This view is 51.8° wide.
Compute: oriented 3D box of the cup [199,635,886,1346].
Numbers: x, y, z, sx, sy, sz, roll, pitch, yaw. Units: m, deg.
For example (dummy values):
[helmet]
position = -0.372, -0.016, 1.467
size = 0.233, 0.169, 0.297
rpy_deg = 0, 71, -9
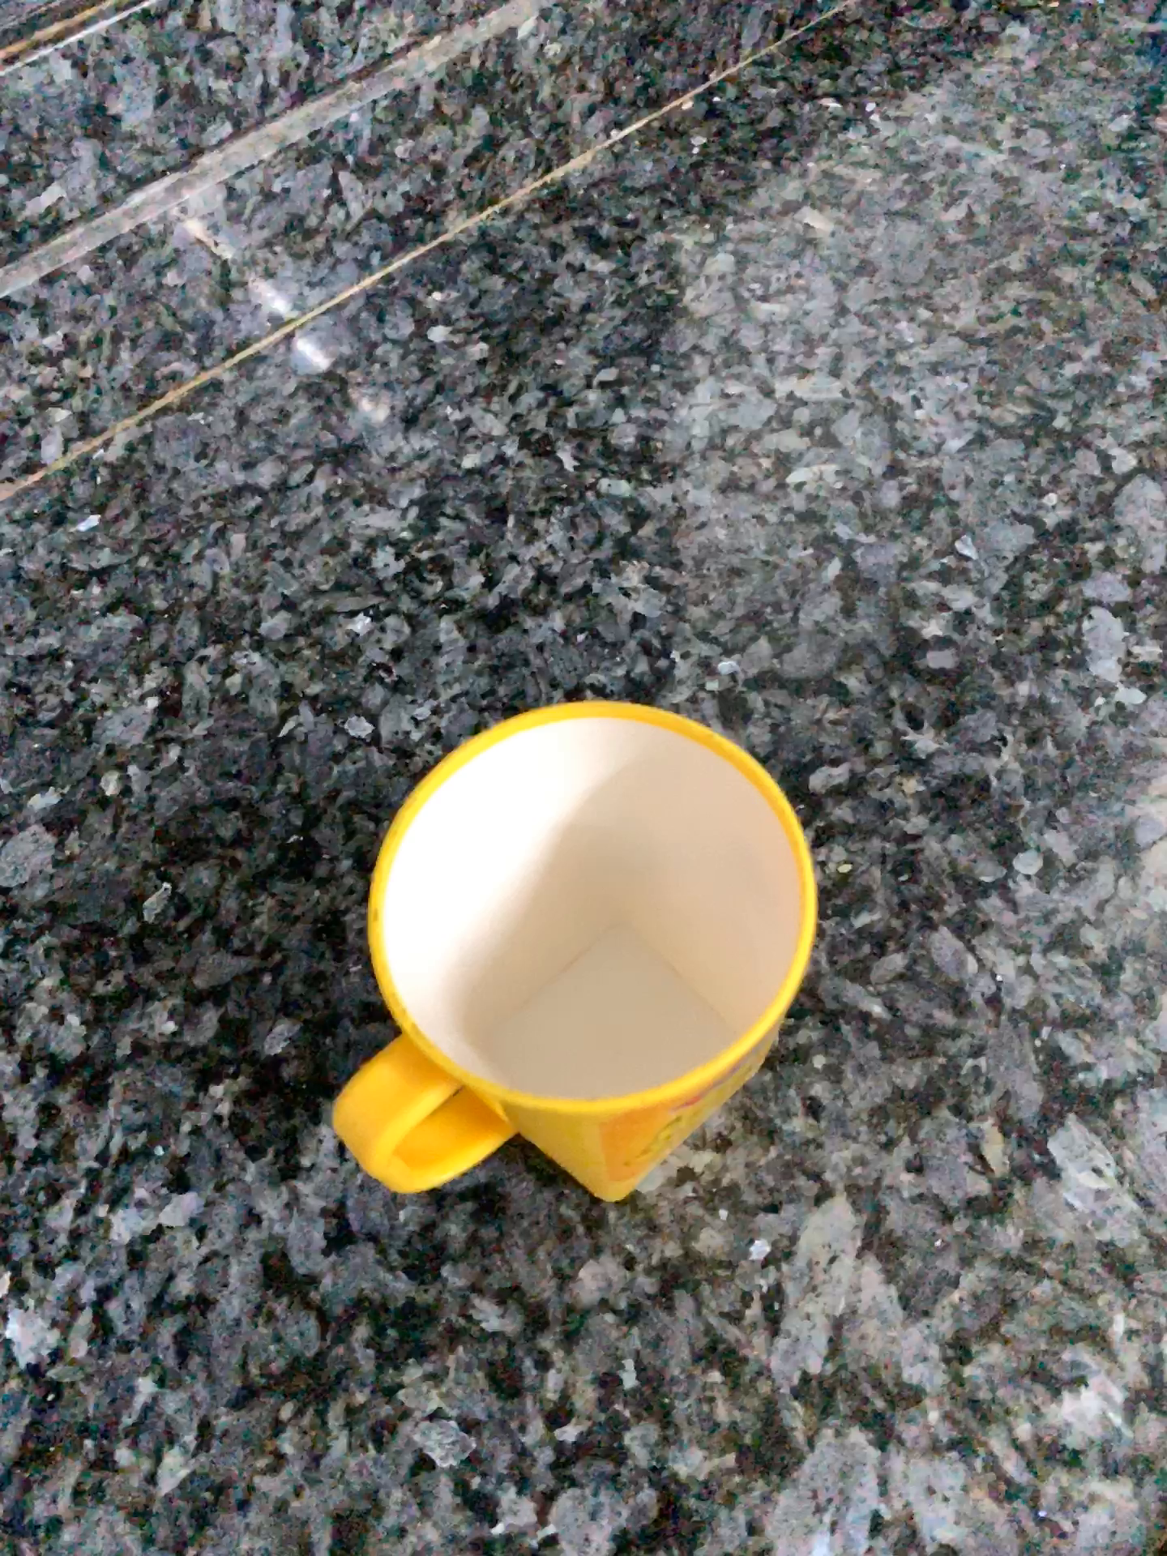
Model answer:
[cup]
position = -0.003, 0.051, 0.258
size = 0.100, 0.109, 0.070
rpy_deg = -41, 65, -17
